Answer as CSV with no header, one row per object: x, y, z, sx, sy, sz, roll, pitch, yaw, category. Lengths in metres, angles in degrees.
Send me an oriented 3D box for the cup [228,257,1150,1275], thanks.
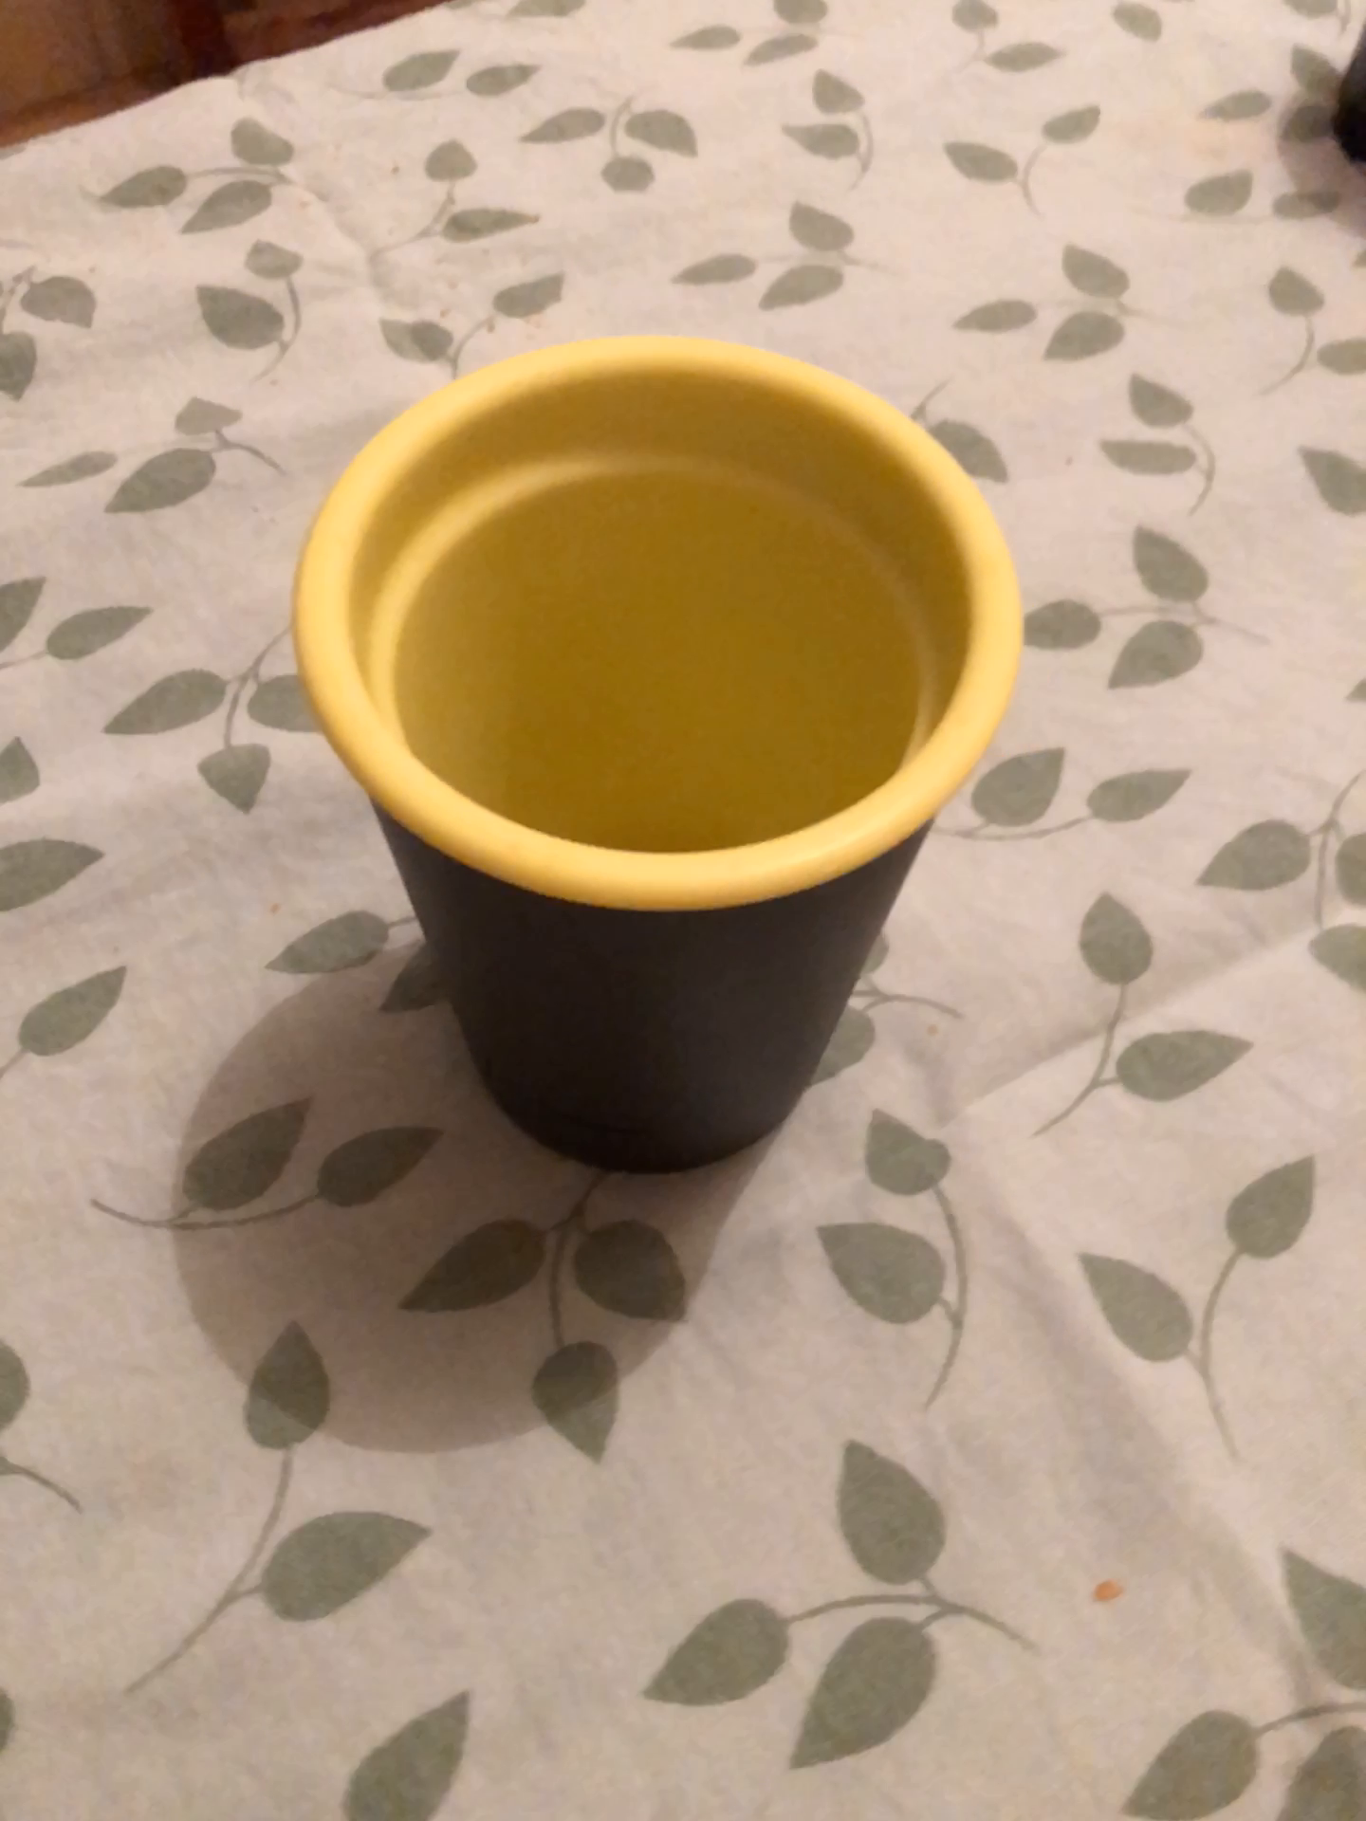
-0.005,-0.015,0.226,0.090,0.109,0.090,1,60,-1,cup
